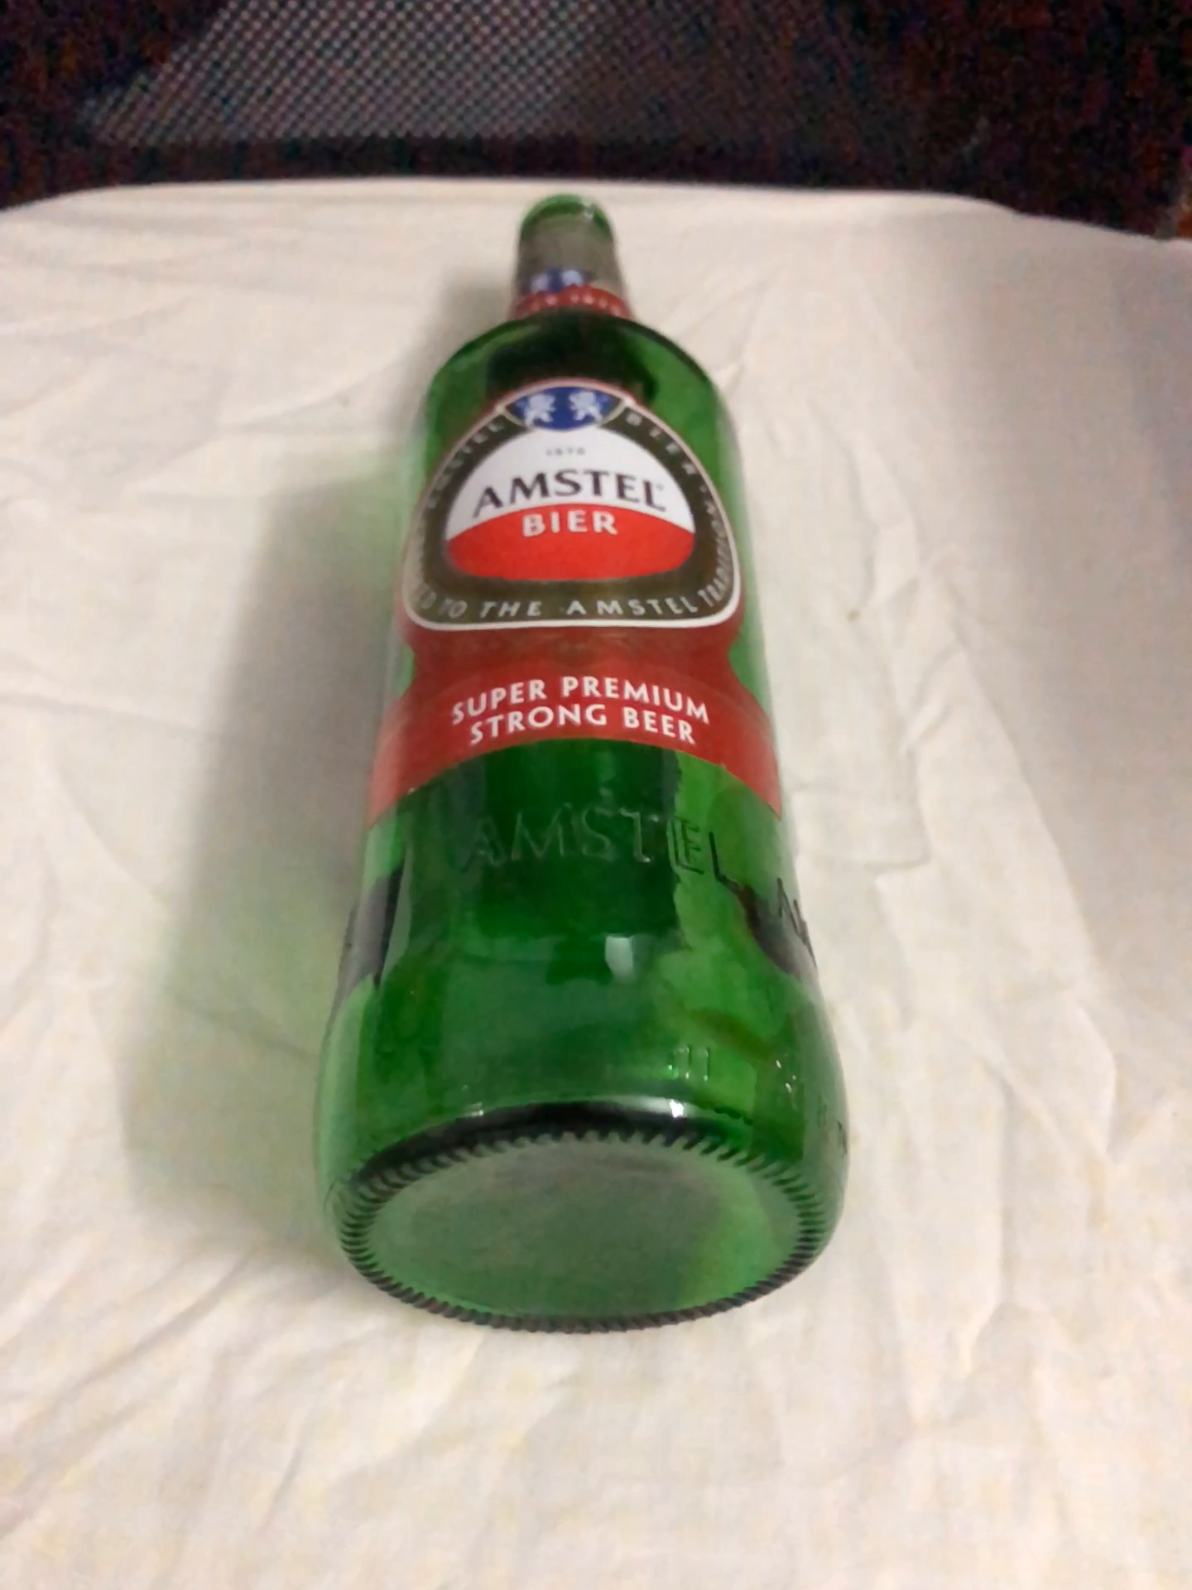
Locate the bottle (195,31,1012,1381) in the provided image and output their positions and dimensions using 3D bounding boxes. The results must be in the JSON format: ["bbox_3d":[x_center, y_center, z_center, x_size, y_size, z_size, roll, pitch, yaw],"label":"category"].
[{"bbox_3d":[-0.002,-0.068,0.302,0.090,0.080,0.362,1,46,-2],"label":"bottle"}]
